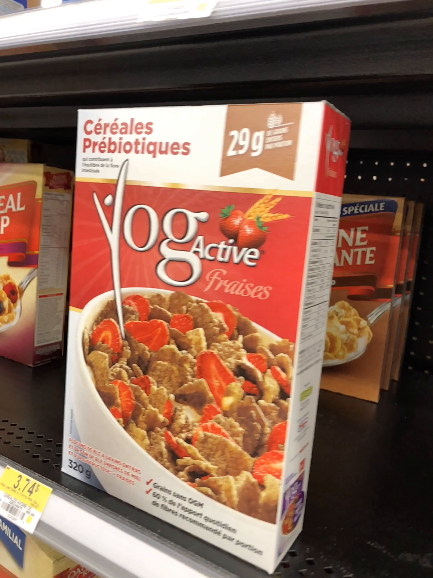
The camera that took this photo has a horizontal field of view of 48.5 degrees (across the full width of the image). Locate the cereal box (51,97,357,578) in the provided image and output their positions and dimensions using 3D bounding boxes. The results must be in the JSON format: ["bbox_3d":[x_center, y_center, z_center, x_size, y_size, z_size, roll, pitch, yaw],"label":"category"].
[{"bbox_3d":[-0.025,0.023,0.345,0.200,0.289,0.050,10,10,29],"label":"cereal box"}]
